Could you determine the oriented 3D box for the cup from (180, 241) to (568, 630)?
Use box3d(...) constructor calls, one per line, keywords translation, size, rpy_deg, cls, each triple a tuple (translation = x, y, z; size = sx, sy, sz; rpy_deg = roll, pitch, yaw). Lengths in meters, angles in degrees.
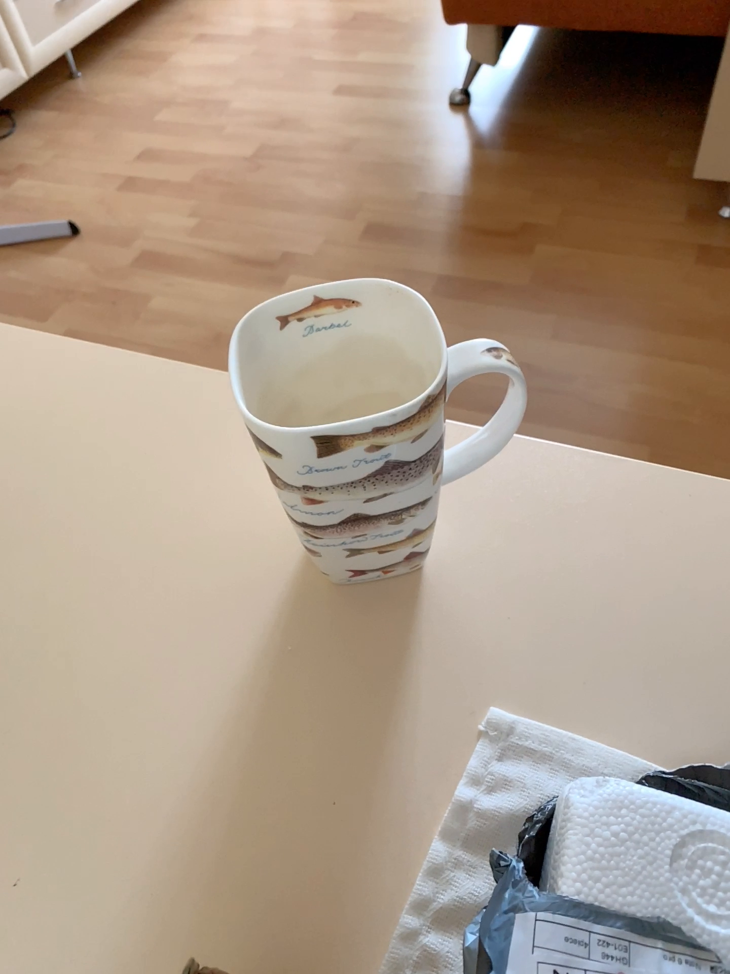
box3d(translation=(0.004, -0.020, 0.345), size=(0.138, 0.122, 0.092), rpy_deg=(-13, 51, -2), cls="cup")
